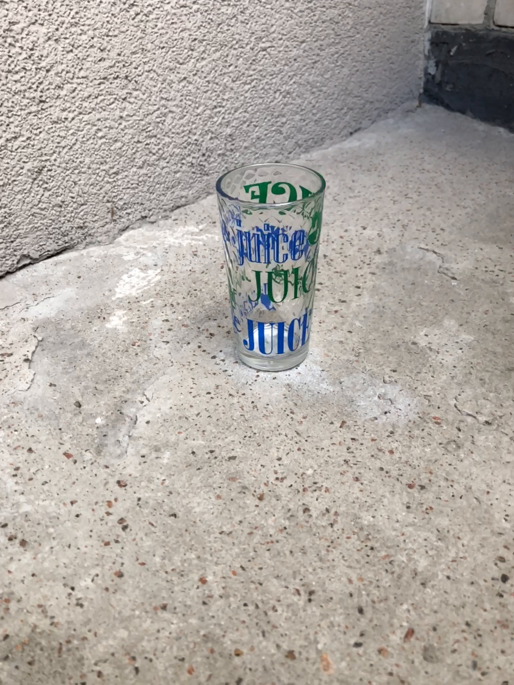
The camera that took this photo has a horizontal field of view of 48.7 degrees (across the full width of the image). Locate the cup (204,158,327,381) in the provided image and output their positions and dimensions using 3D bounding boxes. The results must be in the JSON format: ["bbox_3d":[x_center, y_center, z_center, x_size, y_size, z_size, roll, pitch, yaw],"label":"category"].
[{"bbox_3d":[0.007,-0.045,0.365,0.065,0.125,0.067,-1,35,1],"label":"cup"}]
